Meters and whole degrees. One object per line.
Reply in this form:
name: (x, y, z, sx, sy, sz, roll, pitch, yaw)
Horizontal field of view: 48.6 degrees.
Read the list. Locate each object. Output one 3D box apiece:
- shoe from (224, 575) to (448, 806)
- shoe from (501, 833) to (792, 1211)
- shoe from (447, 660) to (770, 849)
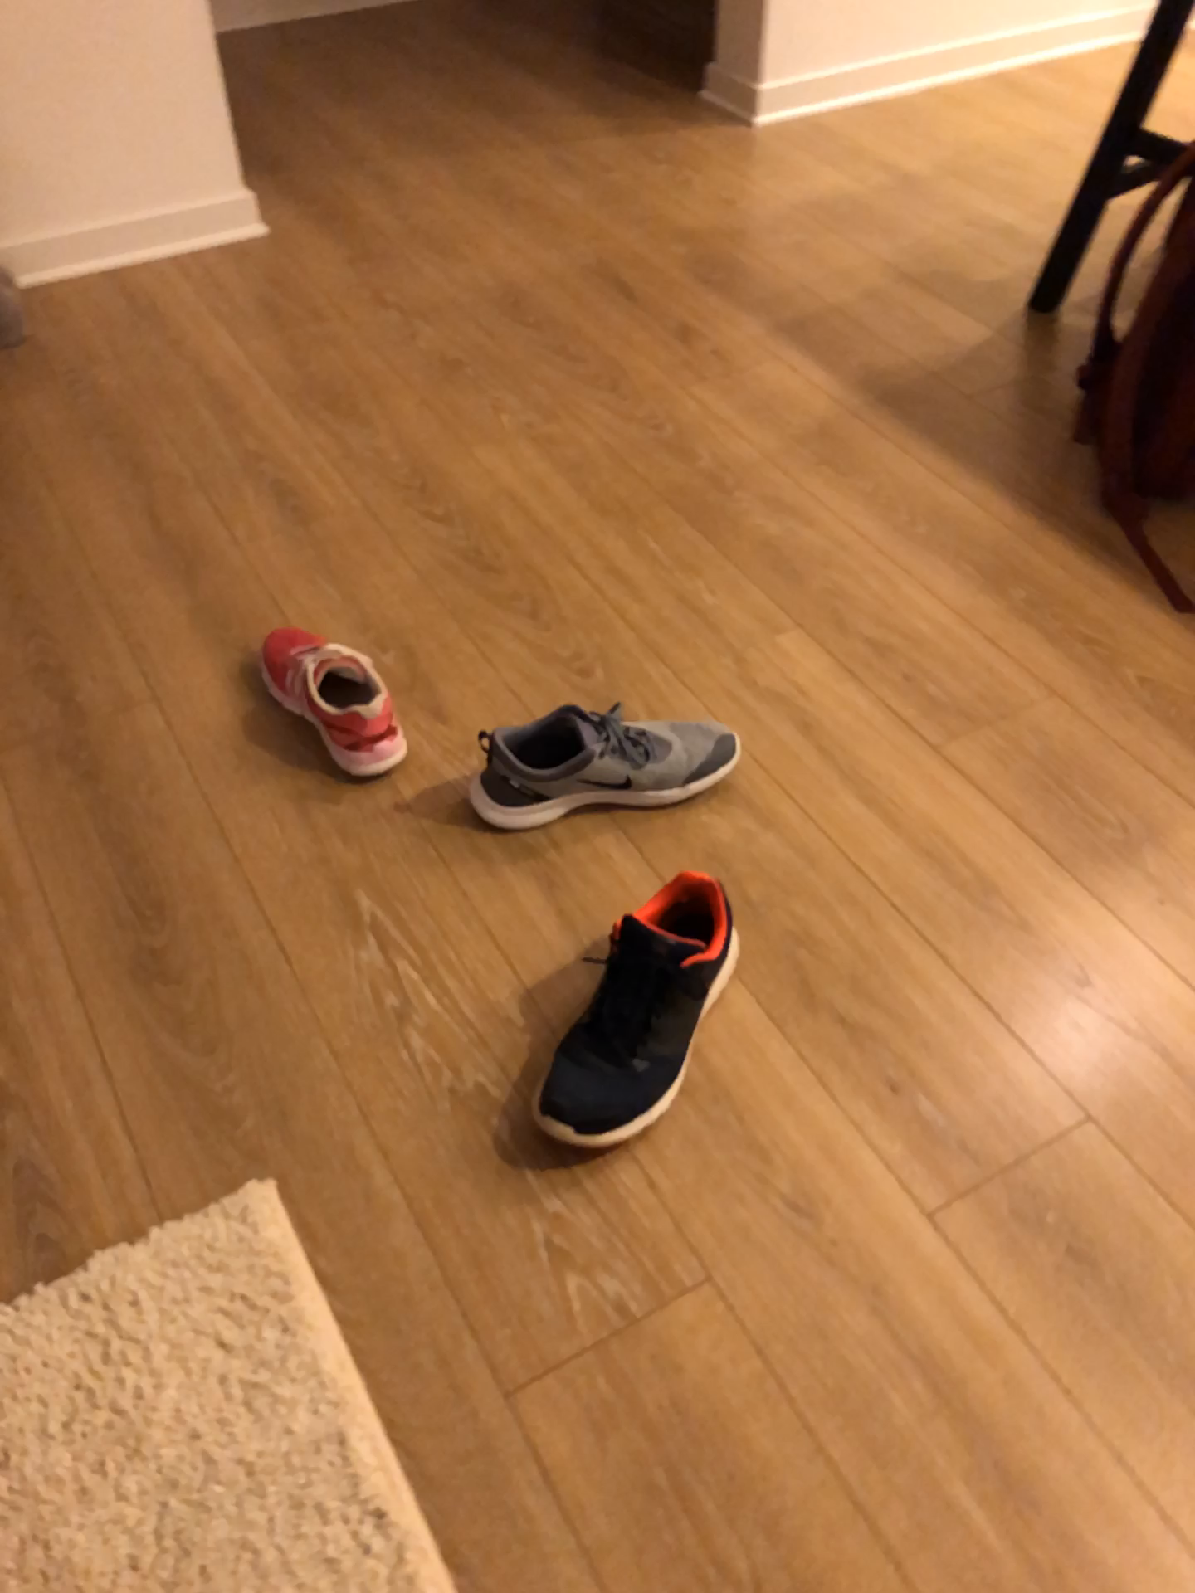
shoe: (-0.304, -0.129, 1.533, 0.130, 0.089, 0.281, -27, 51, -24)
shoe: (0.052, 0.194, 1.209, 0.130, 0.099, 0.322, 20, 49, 19)
shoe: (0.010, -0.049, 1.432, 0.320, 0.080, 0.131, -11, 46, -11)
